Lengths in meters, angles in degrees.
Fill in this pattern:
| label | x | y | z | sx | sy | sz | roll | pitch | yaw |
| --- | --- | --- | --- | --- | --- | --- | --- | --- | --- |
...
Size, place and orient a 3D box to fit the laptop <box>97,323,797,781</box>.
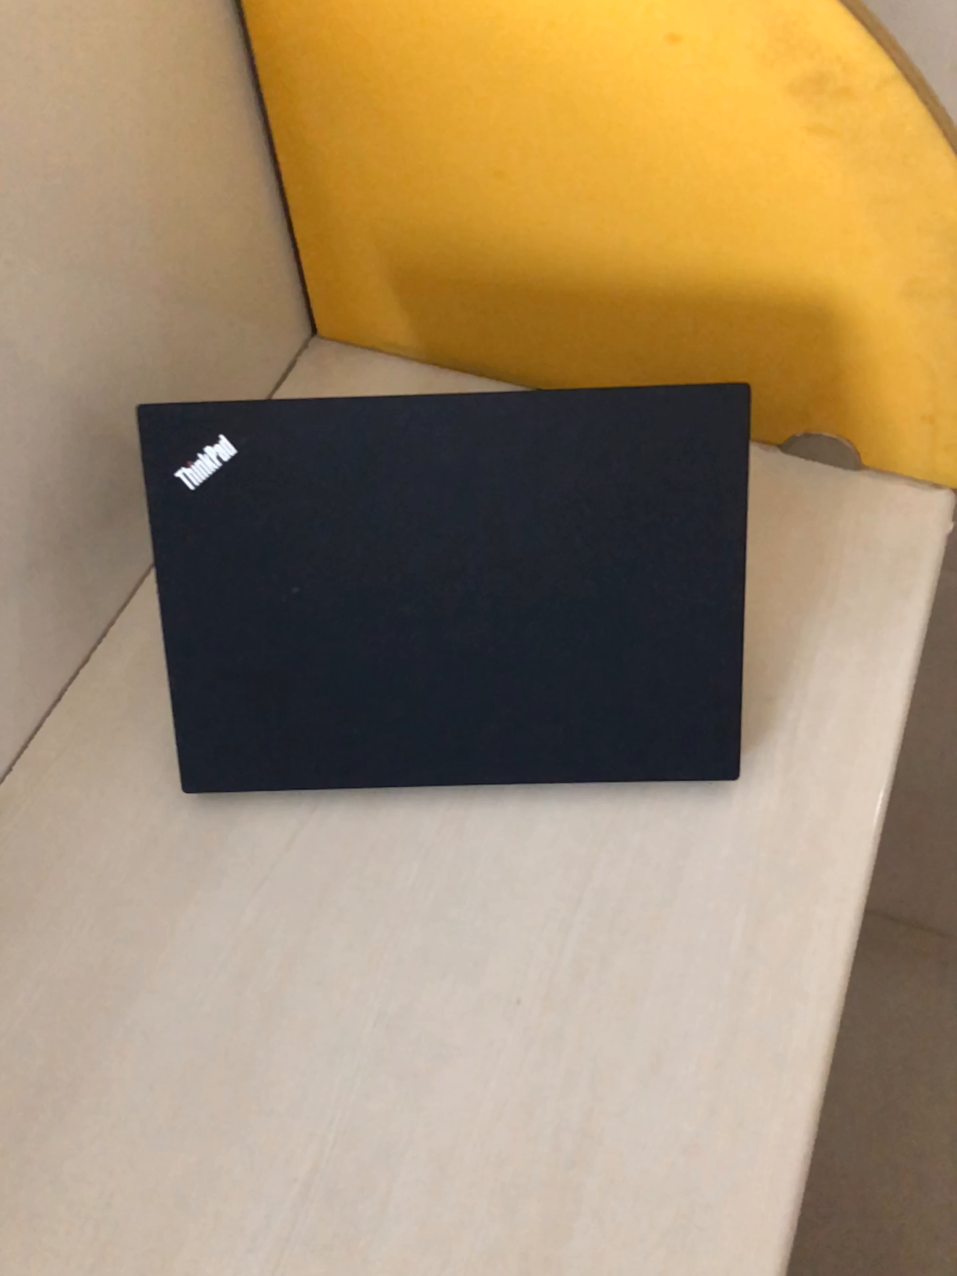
| label | x | y | z | sx | sy | sz | roll | pitch | yaw |
| --- | --- | --- | --- | --- | --- | --- | --- | --- | --- |
| laptop | -0.018 | -0.054 | 0.666 | 0.349 | 0.166 | 0.241 | -3 | 53 | 2 |
